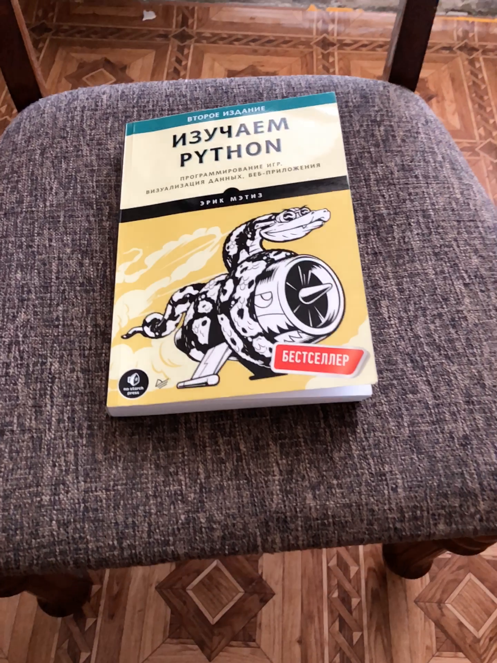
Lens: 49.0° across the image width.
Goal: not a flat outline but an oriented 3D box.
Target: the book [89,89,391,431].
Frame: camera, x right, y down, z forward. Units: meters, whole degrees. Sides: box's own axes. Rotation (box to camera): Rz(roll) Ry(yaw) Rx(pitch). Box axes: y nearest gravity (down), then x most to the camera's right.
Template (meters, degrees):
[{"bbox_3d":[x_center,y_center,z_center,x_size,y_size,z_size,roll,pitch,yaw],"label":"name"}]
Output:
[{"bbox_3d":[-0.008,-0.057,0.371,0.167,0.040,0.234,-5,62,6],"label":"book"}]
